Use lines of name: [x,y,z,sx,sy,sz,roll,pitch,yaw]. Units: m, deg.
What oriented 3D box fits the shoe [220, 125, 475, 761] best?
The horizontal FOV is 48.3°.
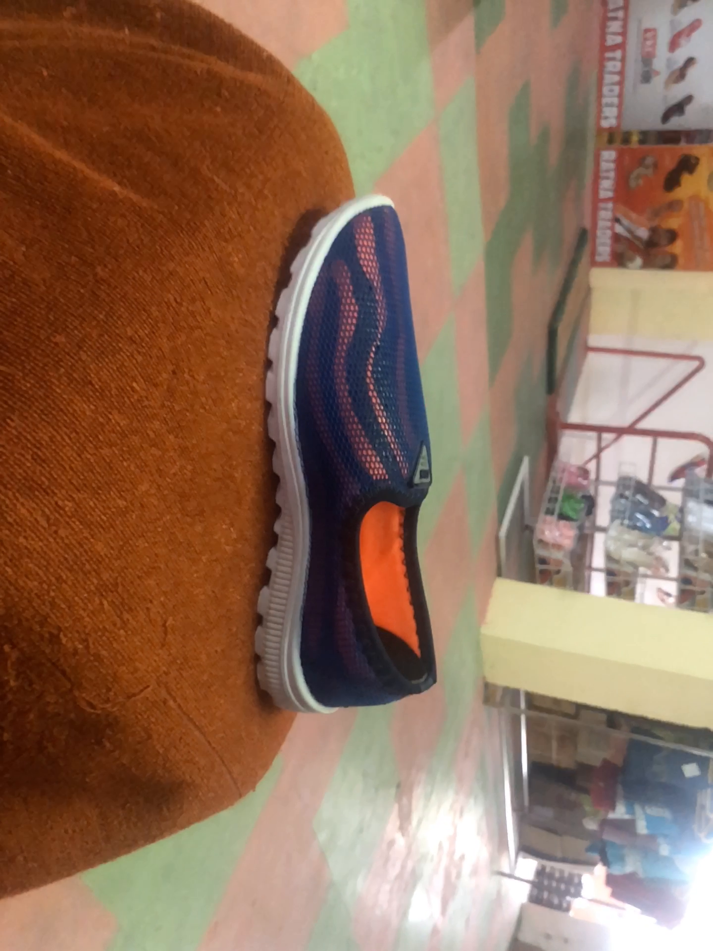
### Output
shoe: [-0.002,-0.015,0.377,0.091,0.070,0.260,-12,108,-68]
